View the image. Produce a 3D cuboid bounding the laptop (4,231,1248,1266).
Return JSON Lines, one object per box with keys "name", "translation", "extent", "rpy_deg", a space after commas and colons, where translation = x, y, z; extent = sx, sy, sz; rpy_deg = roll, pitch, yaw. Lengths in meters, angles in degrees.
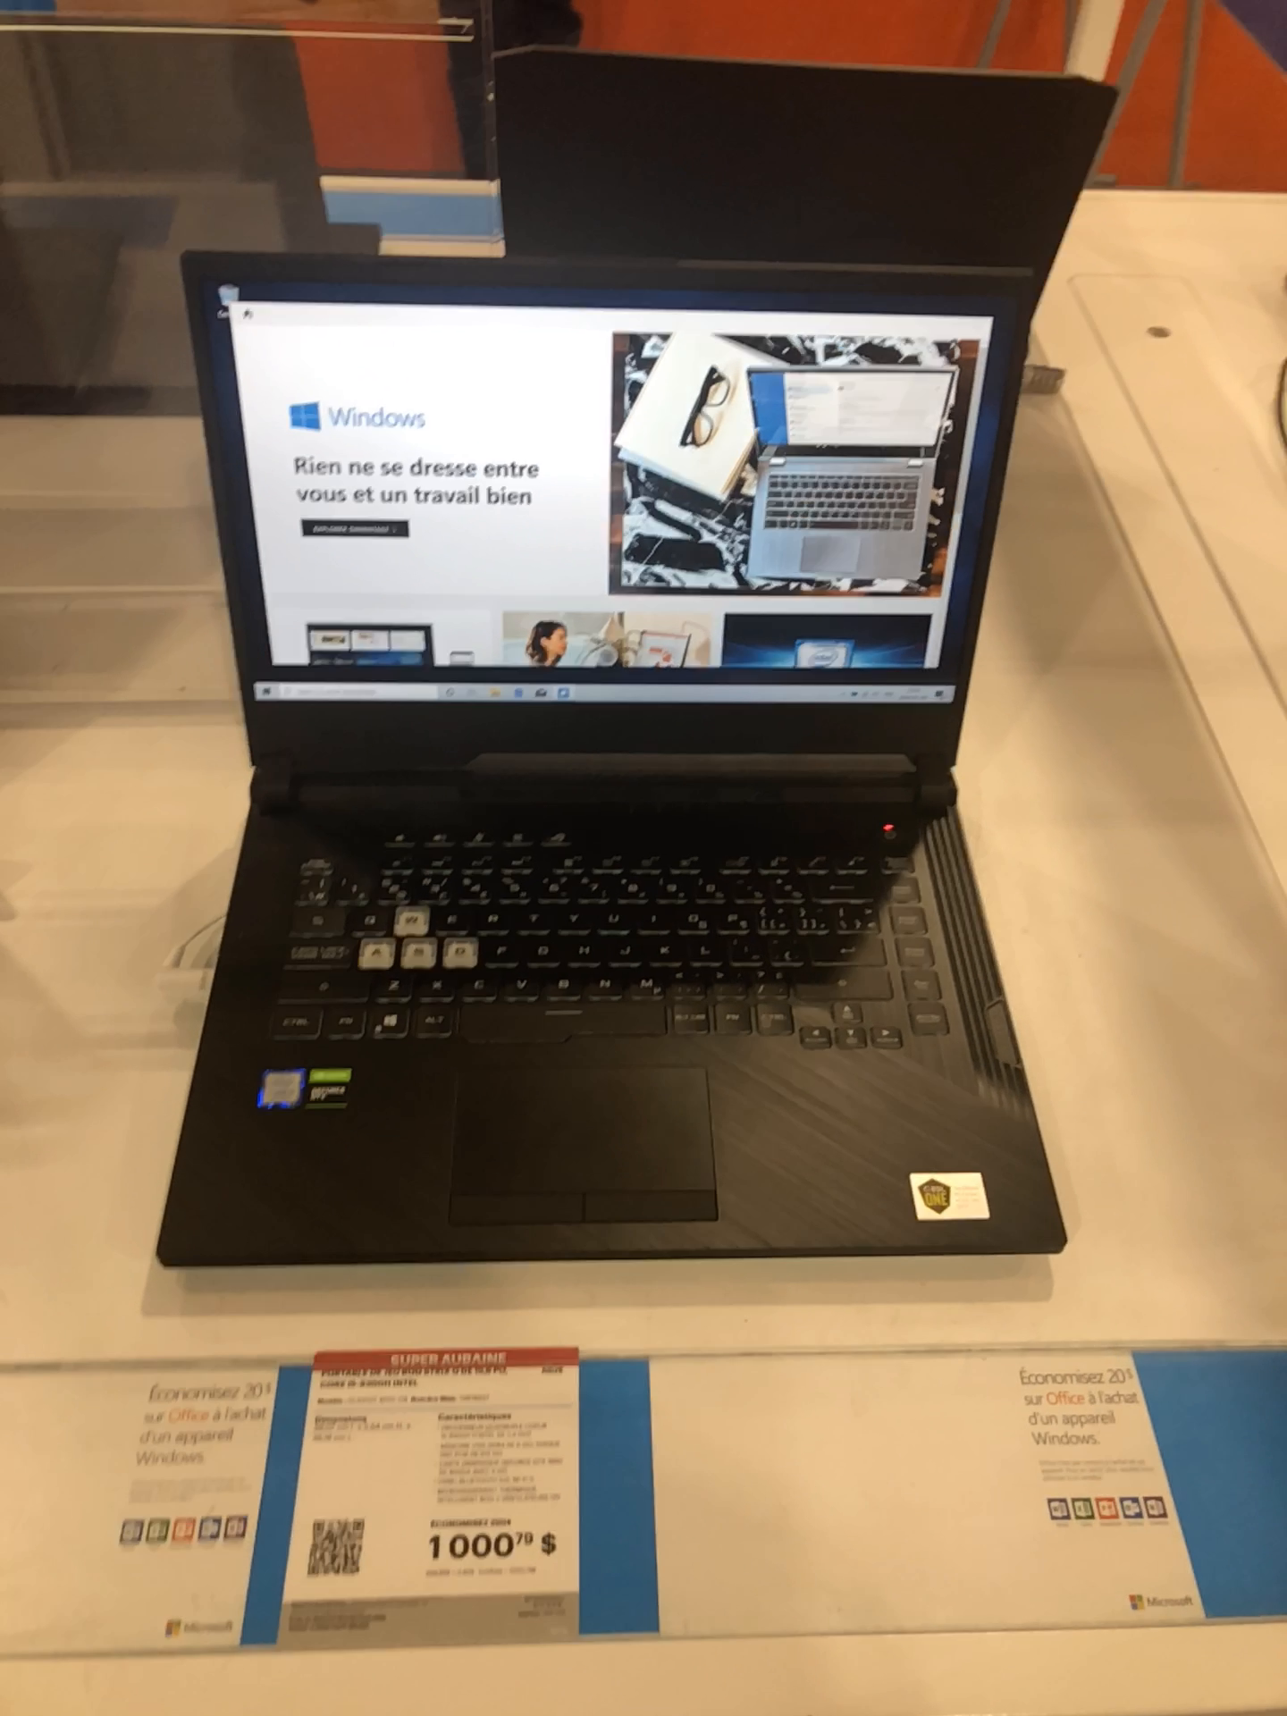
{"name": "laptop", "translation": [-0.008, -0.057, 0.601], "extent": [0.363, 0.236, 0.346], "rpy_deg": [-1, 50, -2]}
